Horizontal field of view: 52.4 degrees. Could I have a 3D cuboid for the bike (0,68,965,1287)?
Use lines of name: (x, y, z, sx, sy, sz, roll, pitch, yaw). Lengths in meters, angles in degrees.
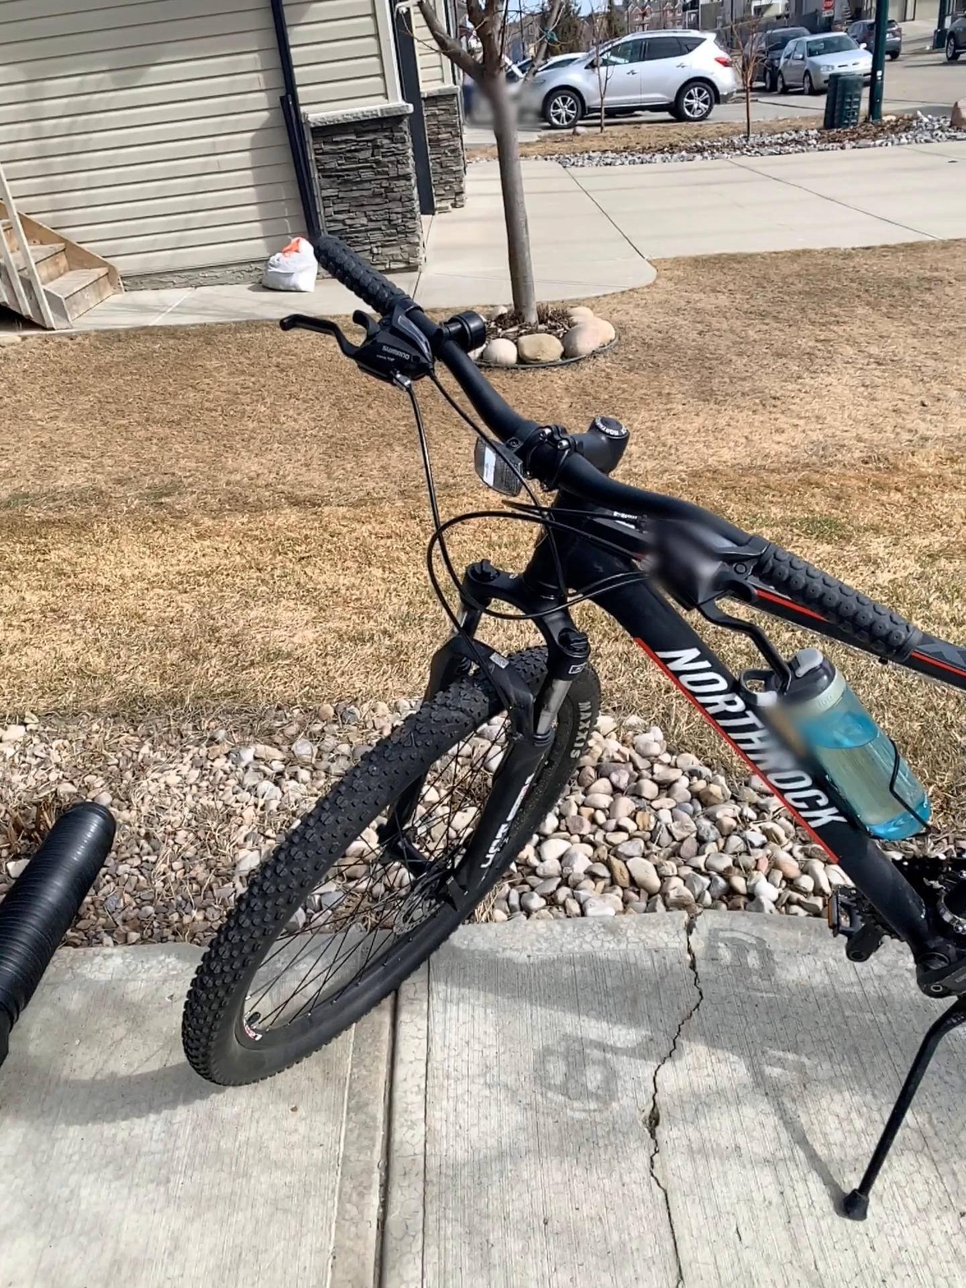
bike: (0.394, 0.212, 0.901, 1.479, 1.005, 0.603, -3, 29, 12)
